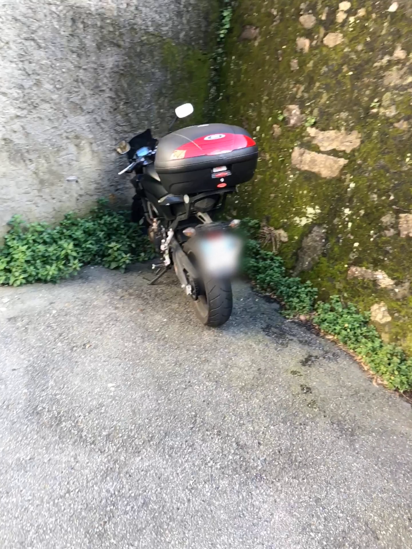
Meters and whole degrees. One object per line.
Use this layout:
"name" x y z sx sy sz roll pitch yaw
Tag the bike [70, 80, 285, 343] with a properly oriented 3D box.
"bike" -0.378 -0.587 3.266 0.711 1.198 1.790 -4 27 -29
